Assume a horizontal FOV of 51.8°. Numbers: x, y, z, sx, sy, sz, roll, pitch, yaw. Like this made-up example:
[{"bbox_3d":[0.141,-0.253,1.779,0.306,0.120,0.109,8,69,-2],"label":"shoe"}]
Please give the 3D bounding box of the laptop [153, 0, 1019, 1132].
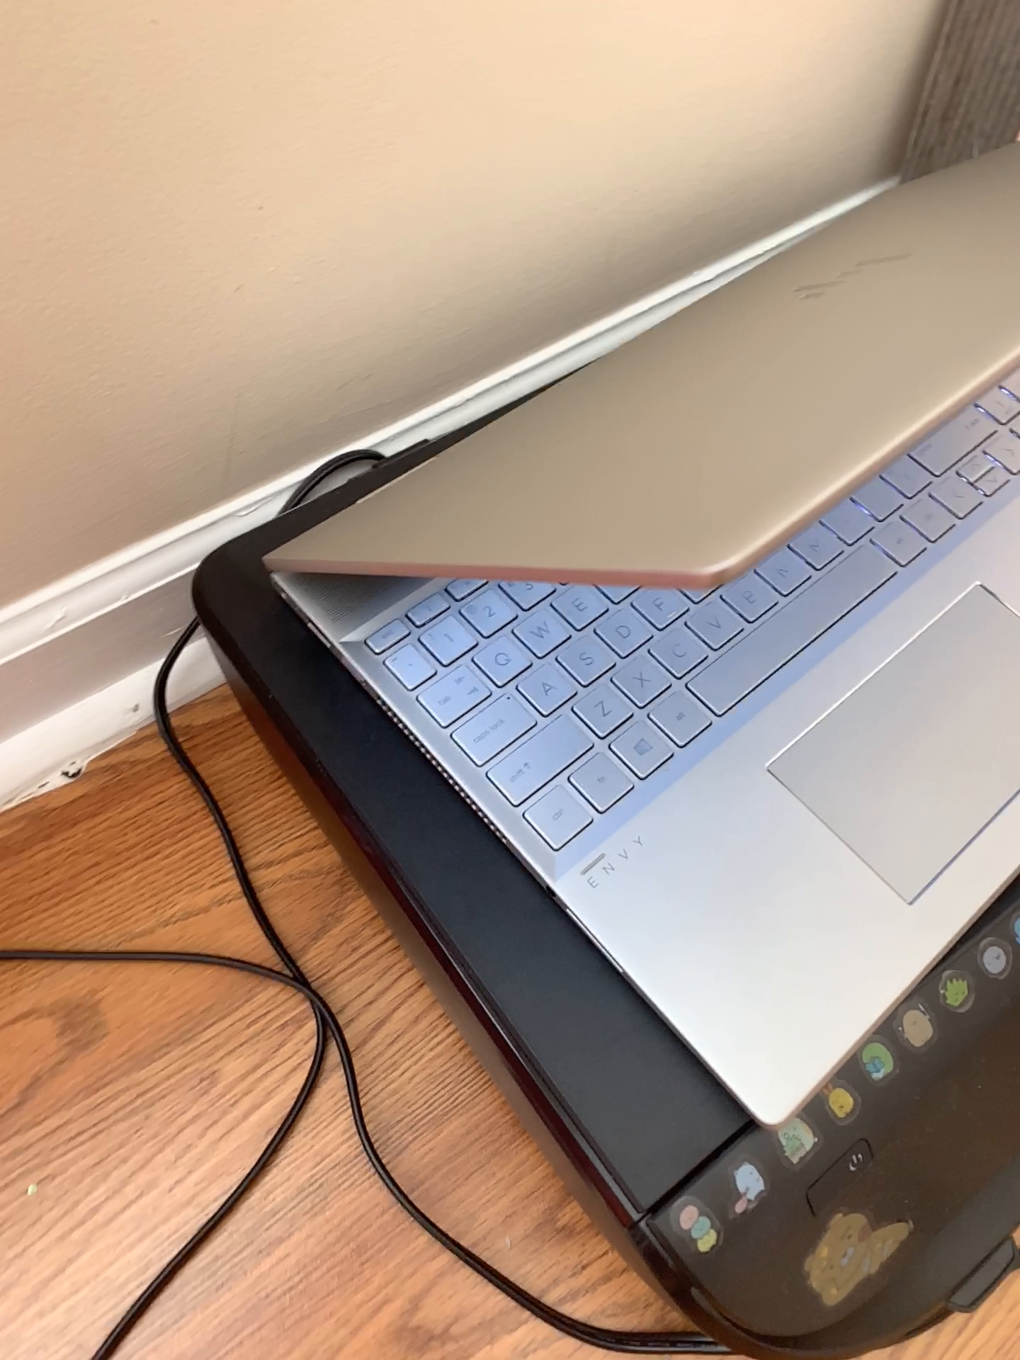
[{"bbox_3d":[0.130,-0.096,0.316,0.351,0.169,0.236,-36,67,-22],"label":"laptop"}]
